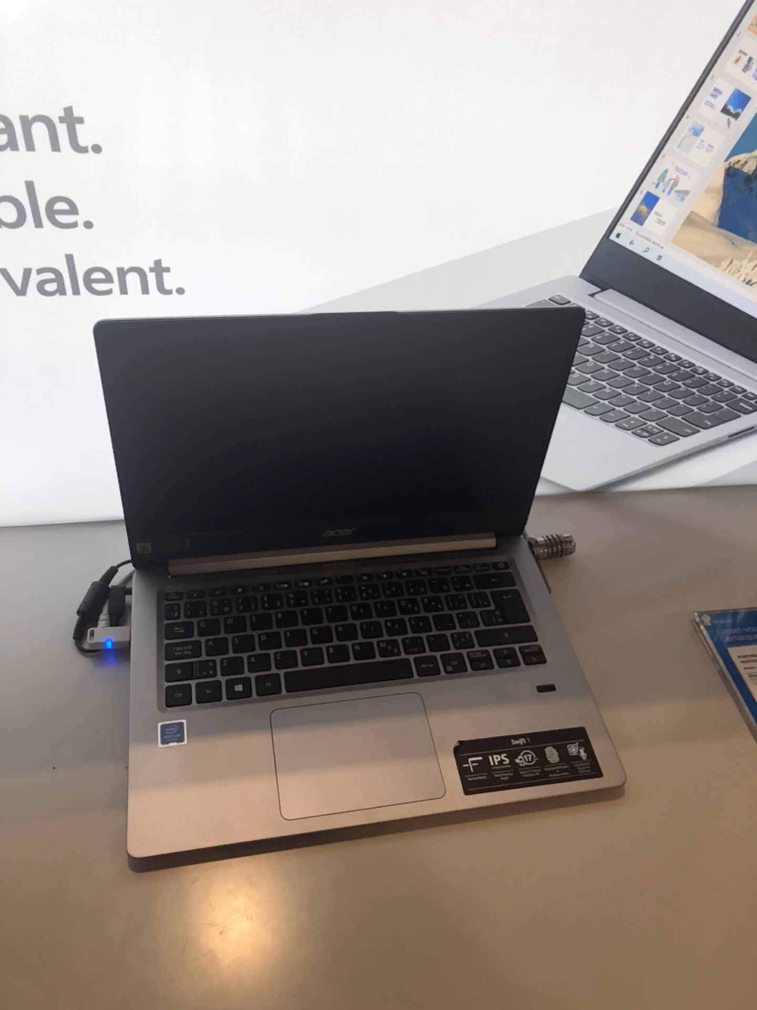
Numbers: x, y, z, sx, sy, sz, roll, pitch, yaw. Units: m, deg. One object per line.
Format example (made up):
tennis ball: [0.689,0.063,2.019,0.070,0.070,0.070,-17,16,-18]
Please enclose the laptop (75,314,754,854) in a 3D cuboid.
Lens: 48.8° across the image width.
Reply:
laptop: [-0.002,0.037,0.522,0.311,0.210,0.227,-4,44,-11]
